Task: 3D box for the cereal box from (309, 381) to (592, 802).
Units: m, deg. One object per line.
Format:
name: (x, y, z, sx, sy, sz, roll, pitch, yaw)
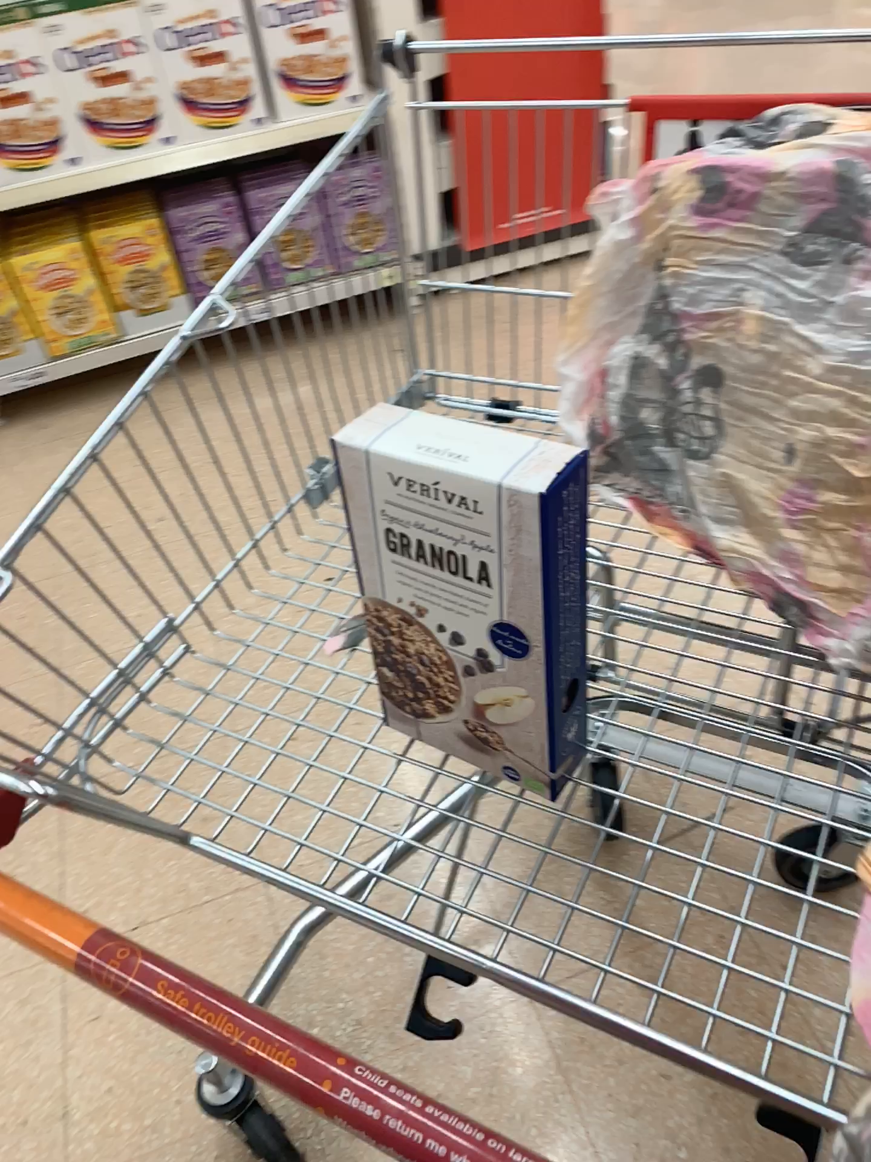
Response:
cereal box: (0.014, 0.011, 0.522, 0.141, 0.228, 0.050, 19, 44, 29)
